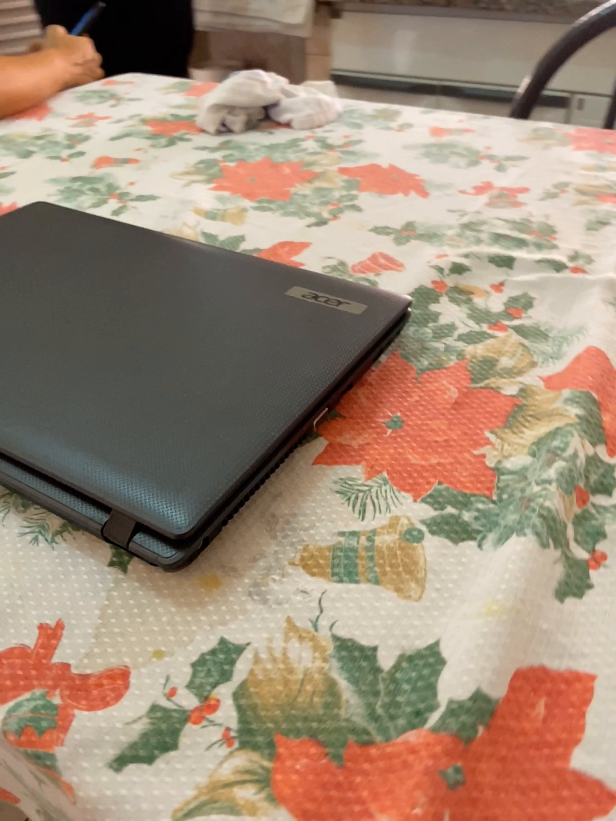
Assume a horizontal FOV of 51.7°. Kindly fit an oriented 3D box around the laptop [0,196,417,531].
[{"bbox_3d":[-0.137,-0.069,0.410,0.351,0.001,0.224,21,44,25],"label":"laptop"}]
